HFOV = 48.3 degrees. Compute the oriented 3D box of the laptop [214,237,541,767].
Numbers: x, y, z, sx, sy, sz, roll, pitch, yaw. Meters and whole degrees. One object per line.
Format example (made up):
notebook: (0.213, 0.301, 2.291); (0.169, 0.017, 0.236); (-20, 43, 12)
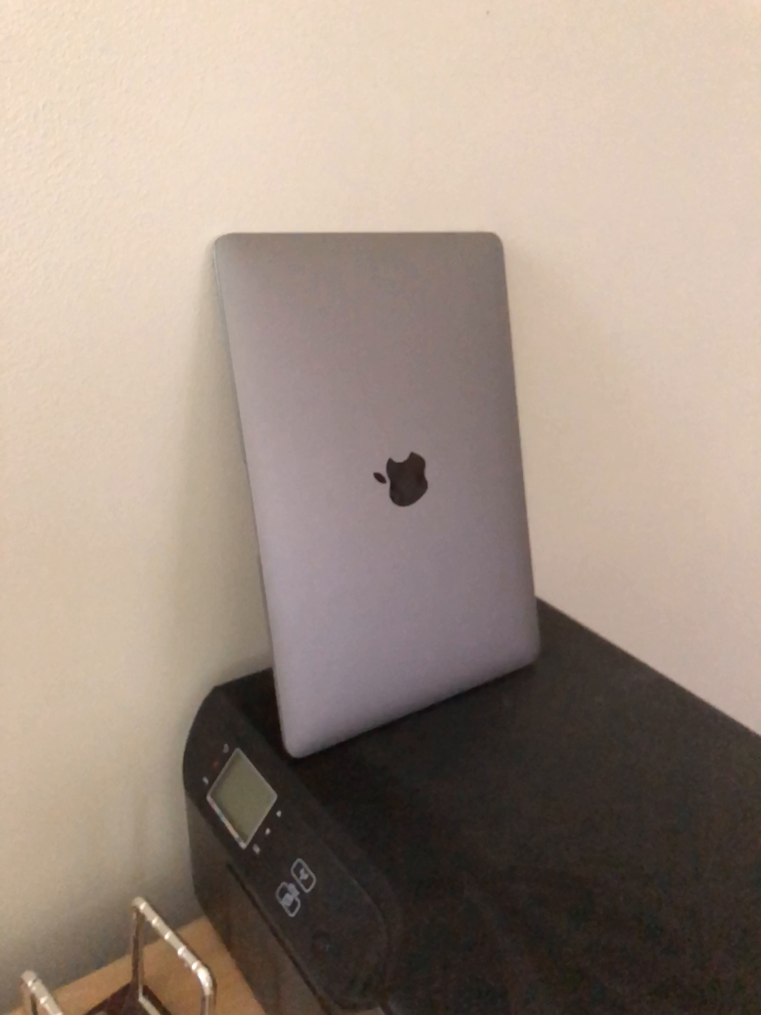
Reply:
laptop: (0.012, -0.015, 0.499); (0.196, 0.275, 0.002); (-13, 9, -35)
